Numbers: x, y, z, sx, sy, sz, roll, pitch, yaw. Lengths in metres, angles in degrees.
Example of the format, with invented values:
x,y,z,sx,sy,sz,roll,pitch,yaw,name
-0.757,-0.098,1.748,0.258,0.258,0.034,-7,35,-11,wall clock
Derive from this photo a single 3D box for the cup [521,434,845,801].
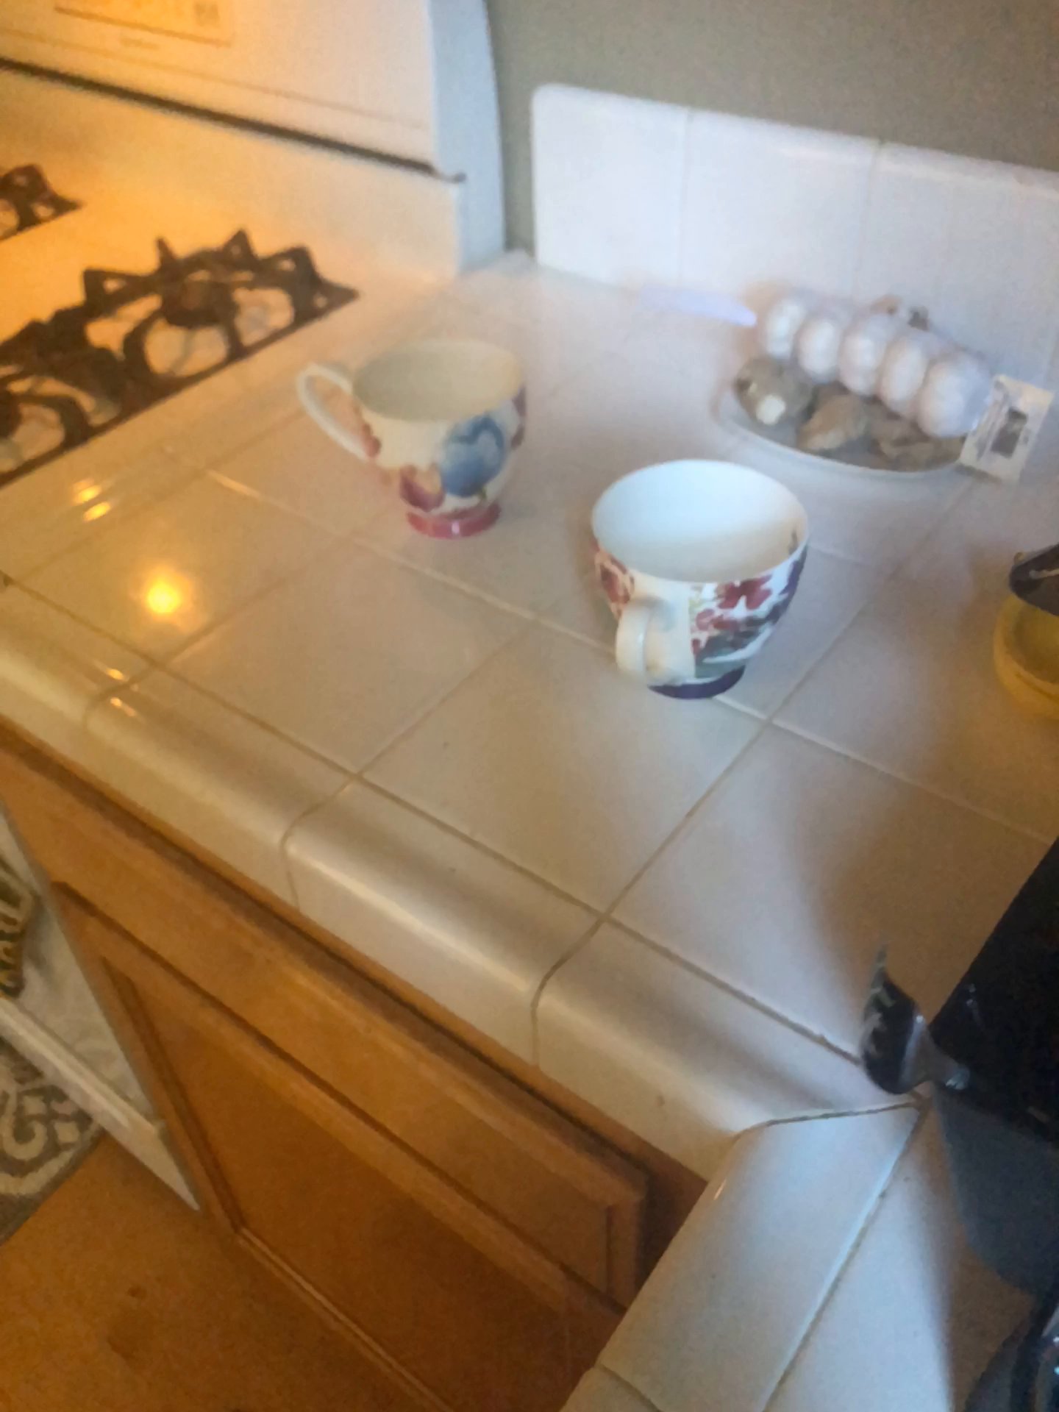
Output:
x,y,z,sx,sy,sz,roll,pitch,yaw,name
0.079,-0.050,0.591,0.110,0.089,0.151,16,46,19,cup

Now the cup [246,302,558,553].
x,y,z,sx,sy,sz,roll,pitch,yaw,name
-0.076,-0.178,0.737,0.150,0.079,0.111,22,48,24,cup
